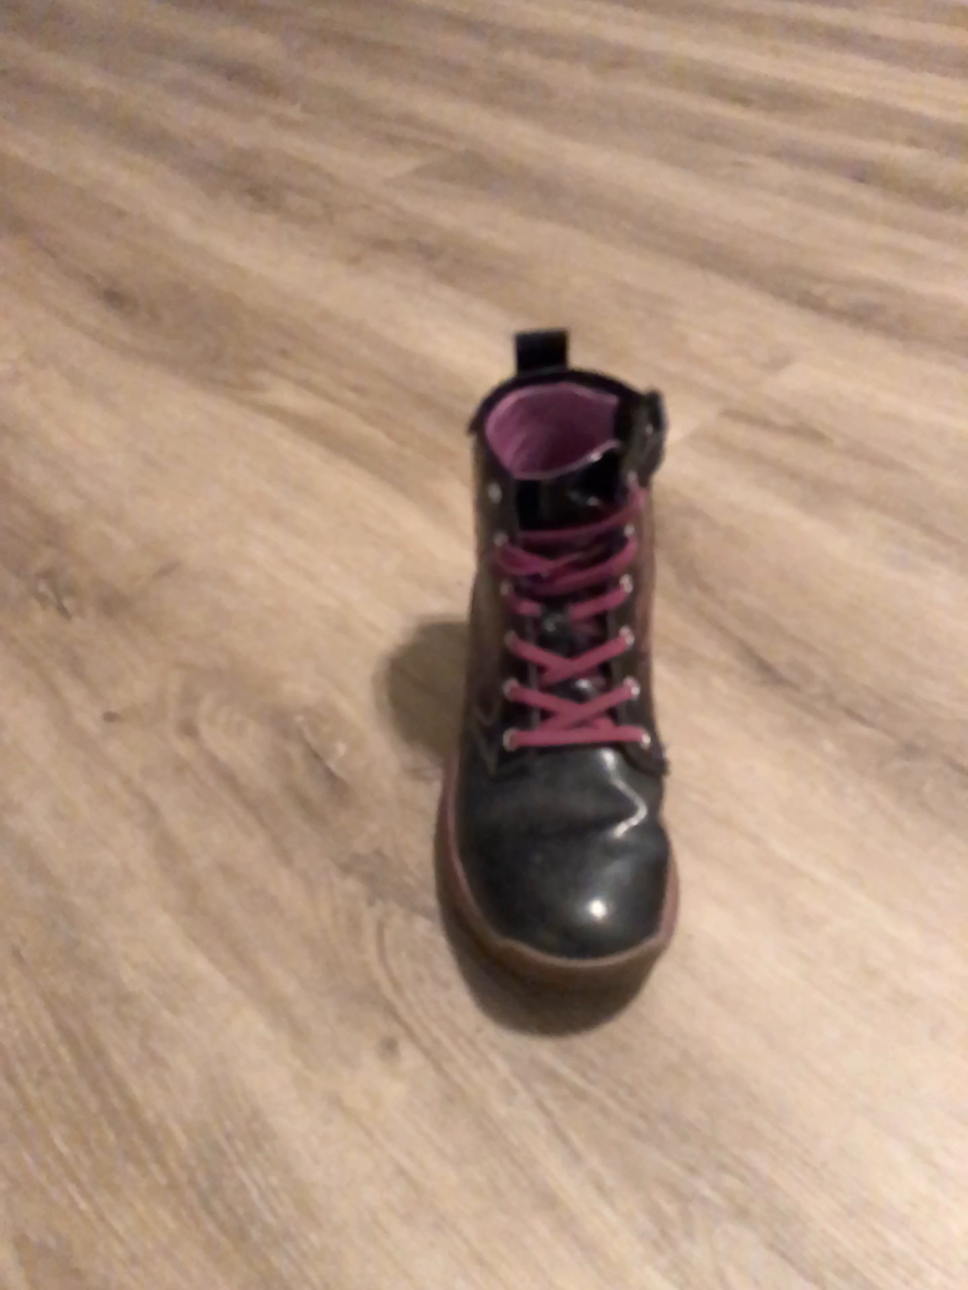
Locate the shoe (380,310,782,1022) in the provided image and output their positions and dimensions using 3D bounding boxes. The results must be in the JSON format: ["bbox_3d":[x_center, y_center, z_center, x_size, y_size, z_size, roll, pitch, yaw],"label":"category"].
[{"bbox_3d":[0.028,-0.003,0.398,0.100,0.149,0.231,0,43,2],"label":"shoe"}]
